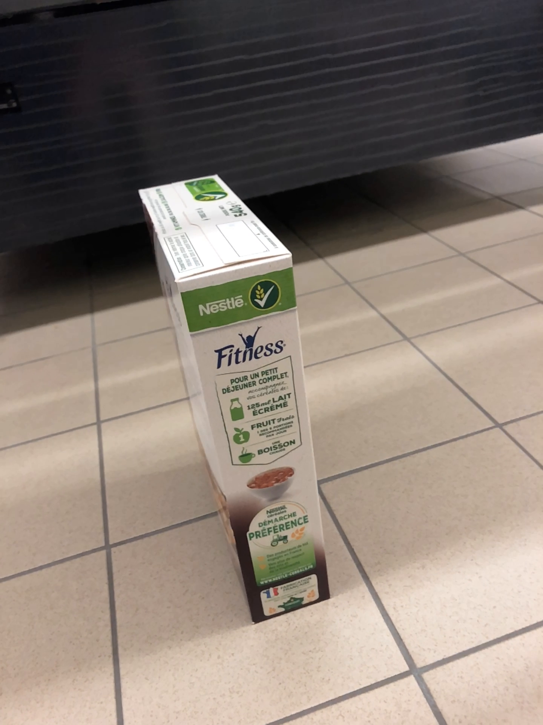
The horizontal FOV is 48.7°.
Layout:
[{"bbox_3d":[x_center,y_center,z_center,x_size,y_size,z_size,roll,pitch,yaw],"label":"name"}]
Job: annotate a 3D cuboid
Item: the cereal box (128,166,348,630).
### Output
[{"bbox_3d":[-0.027,0.019,0.465,0.080,0.278,0.211,-15,32,-10],"label":"cereal box"}]
